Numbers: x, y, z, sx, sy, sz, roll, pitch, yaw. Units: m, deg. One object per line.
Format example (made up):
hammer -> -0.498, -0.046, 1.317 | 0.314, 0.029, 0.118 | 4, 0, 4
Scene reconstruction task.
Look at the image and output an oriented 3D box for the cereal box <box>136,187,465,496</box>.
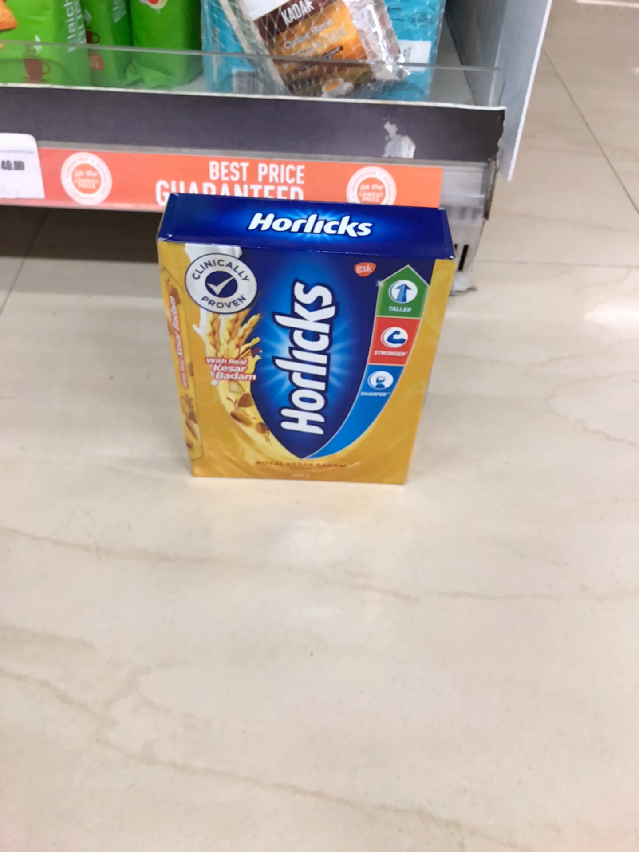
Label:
cereal box -> -0.013, -0.037, 0.406 | 0.150, 0.179, 0.050 | 2, 47, -2
